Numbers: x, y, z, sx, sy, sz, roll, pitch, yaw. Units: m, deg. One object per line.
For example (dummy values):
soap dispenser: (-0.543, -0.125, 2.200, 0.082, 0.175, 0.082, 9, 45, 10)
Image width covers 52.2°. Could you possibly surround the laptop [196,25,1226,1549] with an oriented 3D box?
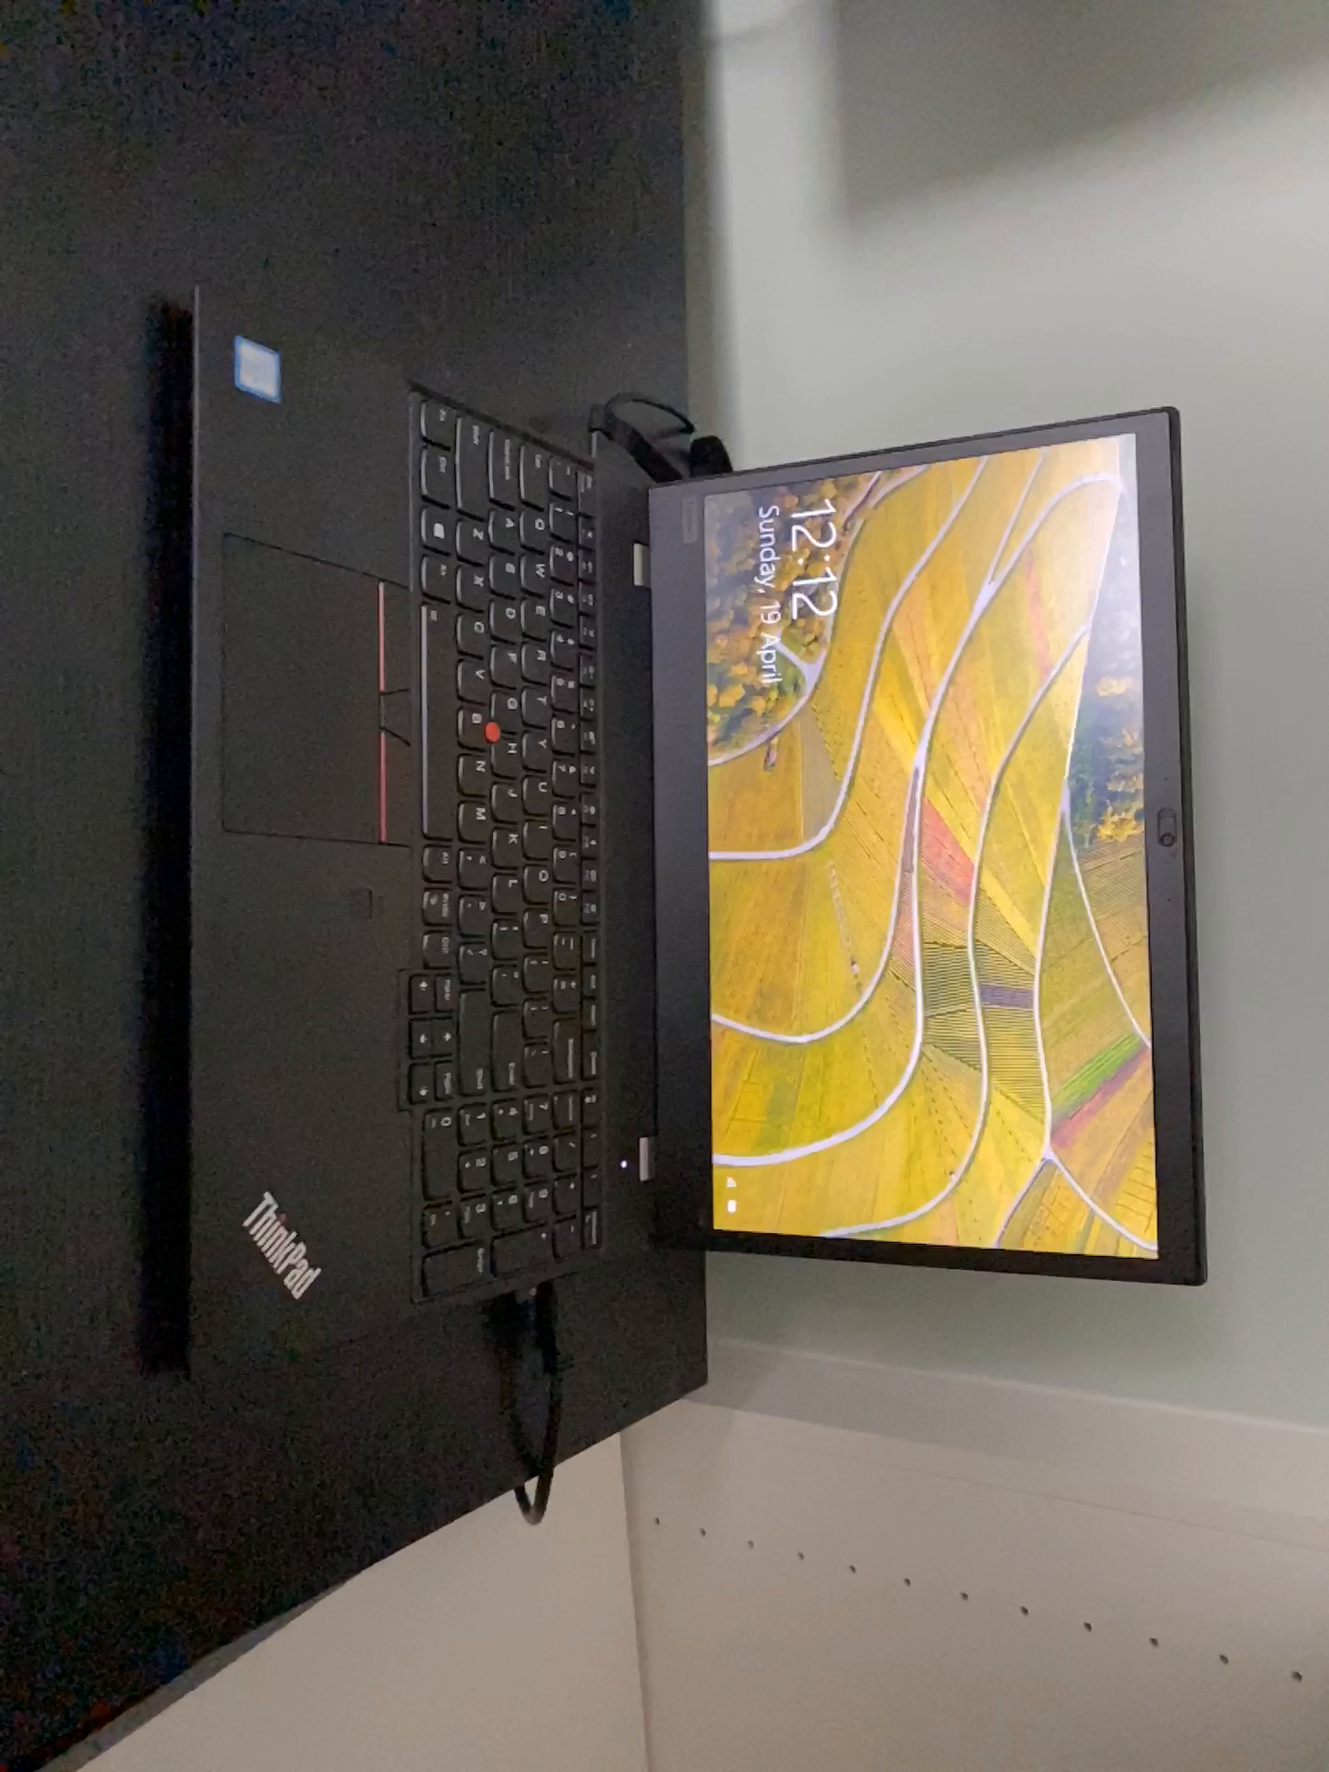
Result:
laptop: (0.035, -0.017, 0.491, 0.295, 0.231, 0.351, 5, 83, -55)
